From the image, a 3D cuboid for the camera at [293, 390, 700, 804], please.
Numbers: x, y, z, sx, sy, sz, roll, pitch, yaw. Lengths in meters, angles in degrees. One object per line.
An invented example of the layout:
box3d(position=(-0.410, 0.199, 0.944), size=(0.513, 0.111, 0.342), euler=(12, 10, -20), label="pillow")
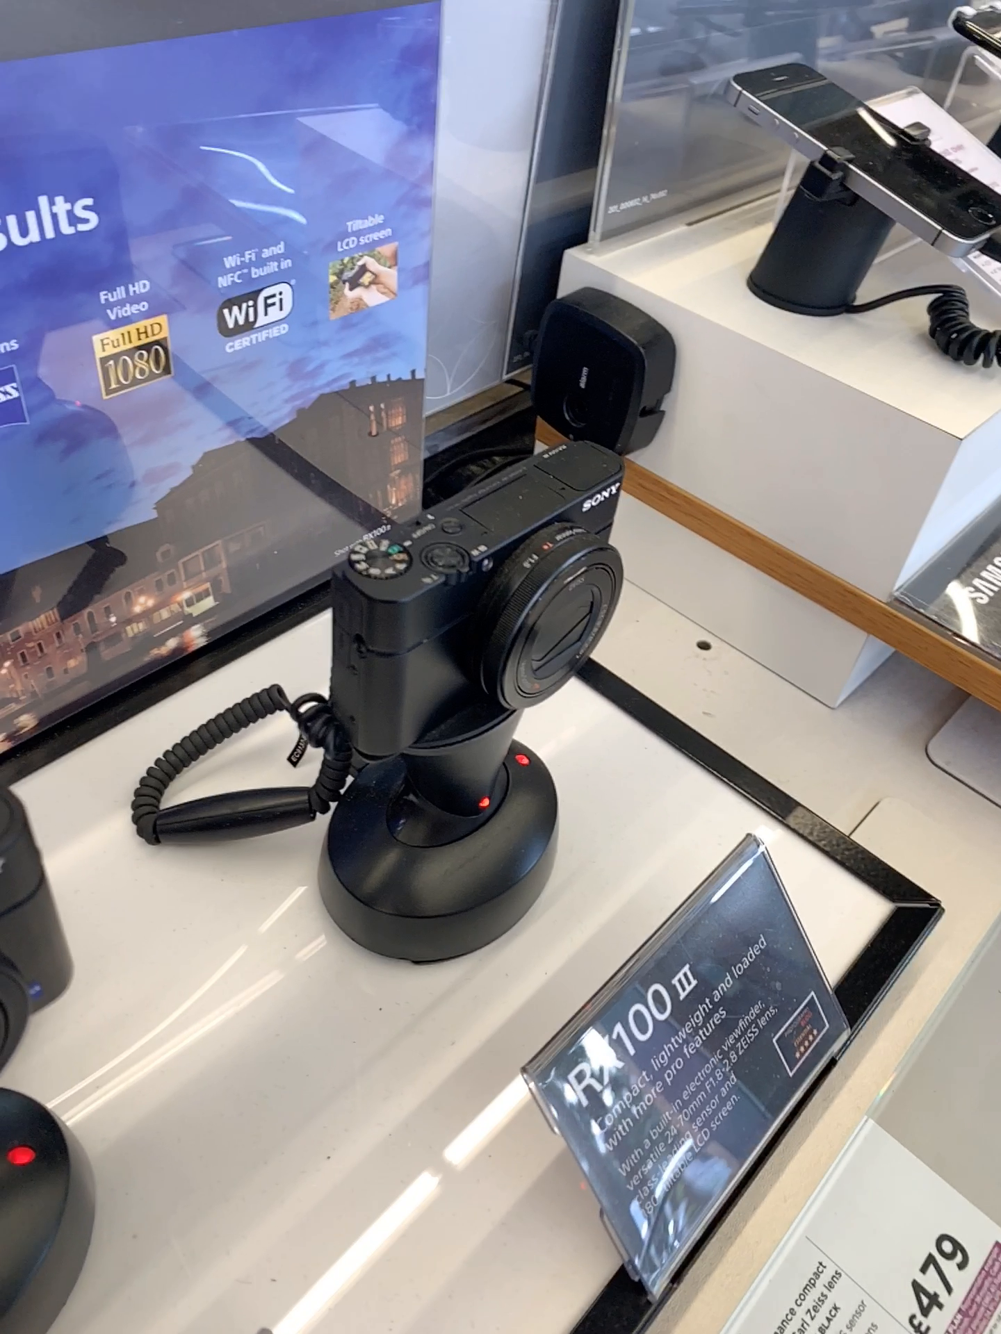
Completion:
box3d(position=(0.000, -0.025, 0.296), size=(0.050, 0.059, 0.111), euler=(34, 49, 24), label="camera")
